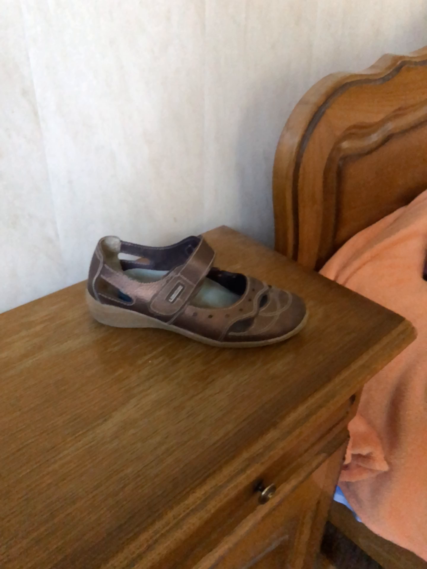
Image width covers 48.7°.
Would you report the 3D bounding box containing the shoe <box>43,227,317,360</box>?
[{"bbox_3d":[-0.031,0.007,0.513,0.260,0.089,0.101,3,32,2],"label":"shoe"}]
